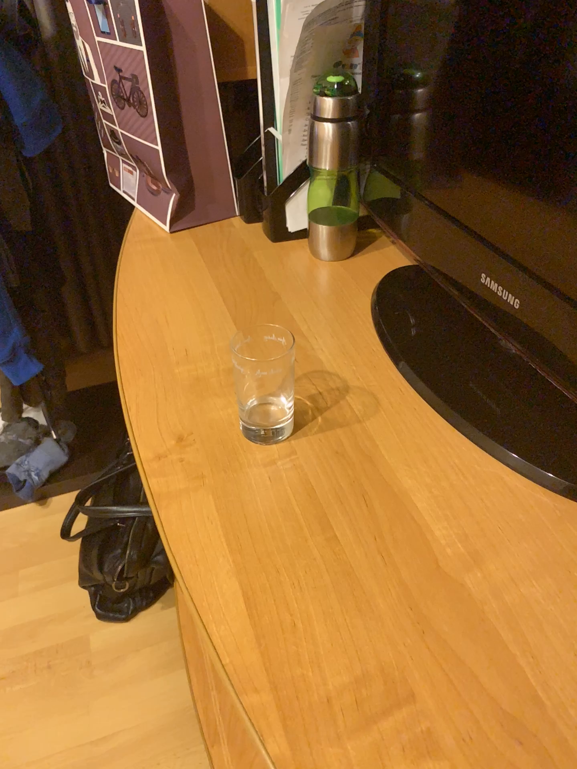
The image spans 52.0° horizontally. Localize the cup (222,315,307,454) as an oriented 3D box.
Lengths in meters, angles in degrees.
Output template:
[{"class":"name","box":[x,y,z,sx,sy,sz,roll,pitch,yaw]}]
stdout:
[{"class":"cup","box":[-0.021,0.000,0.527,0.060,0.099,0.061,-1,37,1]}]
